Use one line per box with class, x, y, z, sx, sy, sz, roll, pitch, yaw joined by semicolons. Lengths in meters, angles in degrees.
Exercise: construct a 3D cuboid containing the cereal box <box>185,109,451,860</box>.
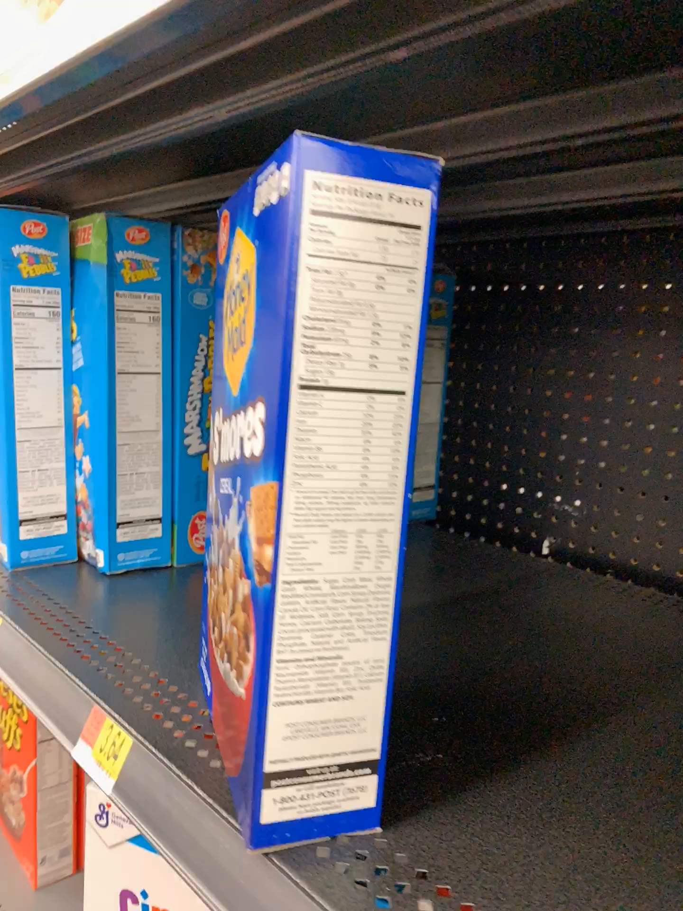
cereal box;-0.033;0.008;0.399;0.070;0.319;0.201;2;9;-19
